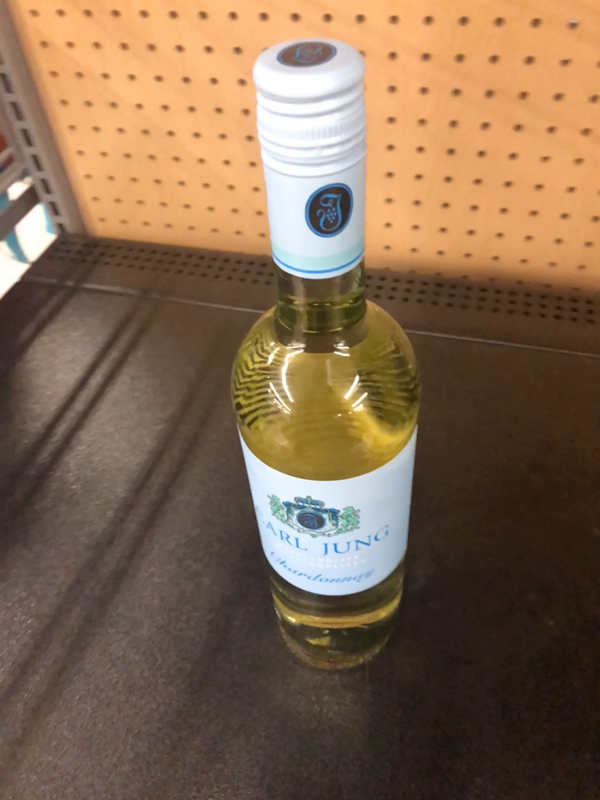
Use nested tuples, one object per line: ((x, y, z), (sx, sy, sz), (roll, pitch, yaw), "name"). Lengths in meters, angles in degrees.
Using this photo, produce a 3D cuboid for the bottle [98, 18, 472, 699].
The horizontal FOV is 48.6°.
((0.013, 0.026, 0.285), (0.080, 0.318, 0.080), (-3, 48, 3), "bottle")
